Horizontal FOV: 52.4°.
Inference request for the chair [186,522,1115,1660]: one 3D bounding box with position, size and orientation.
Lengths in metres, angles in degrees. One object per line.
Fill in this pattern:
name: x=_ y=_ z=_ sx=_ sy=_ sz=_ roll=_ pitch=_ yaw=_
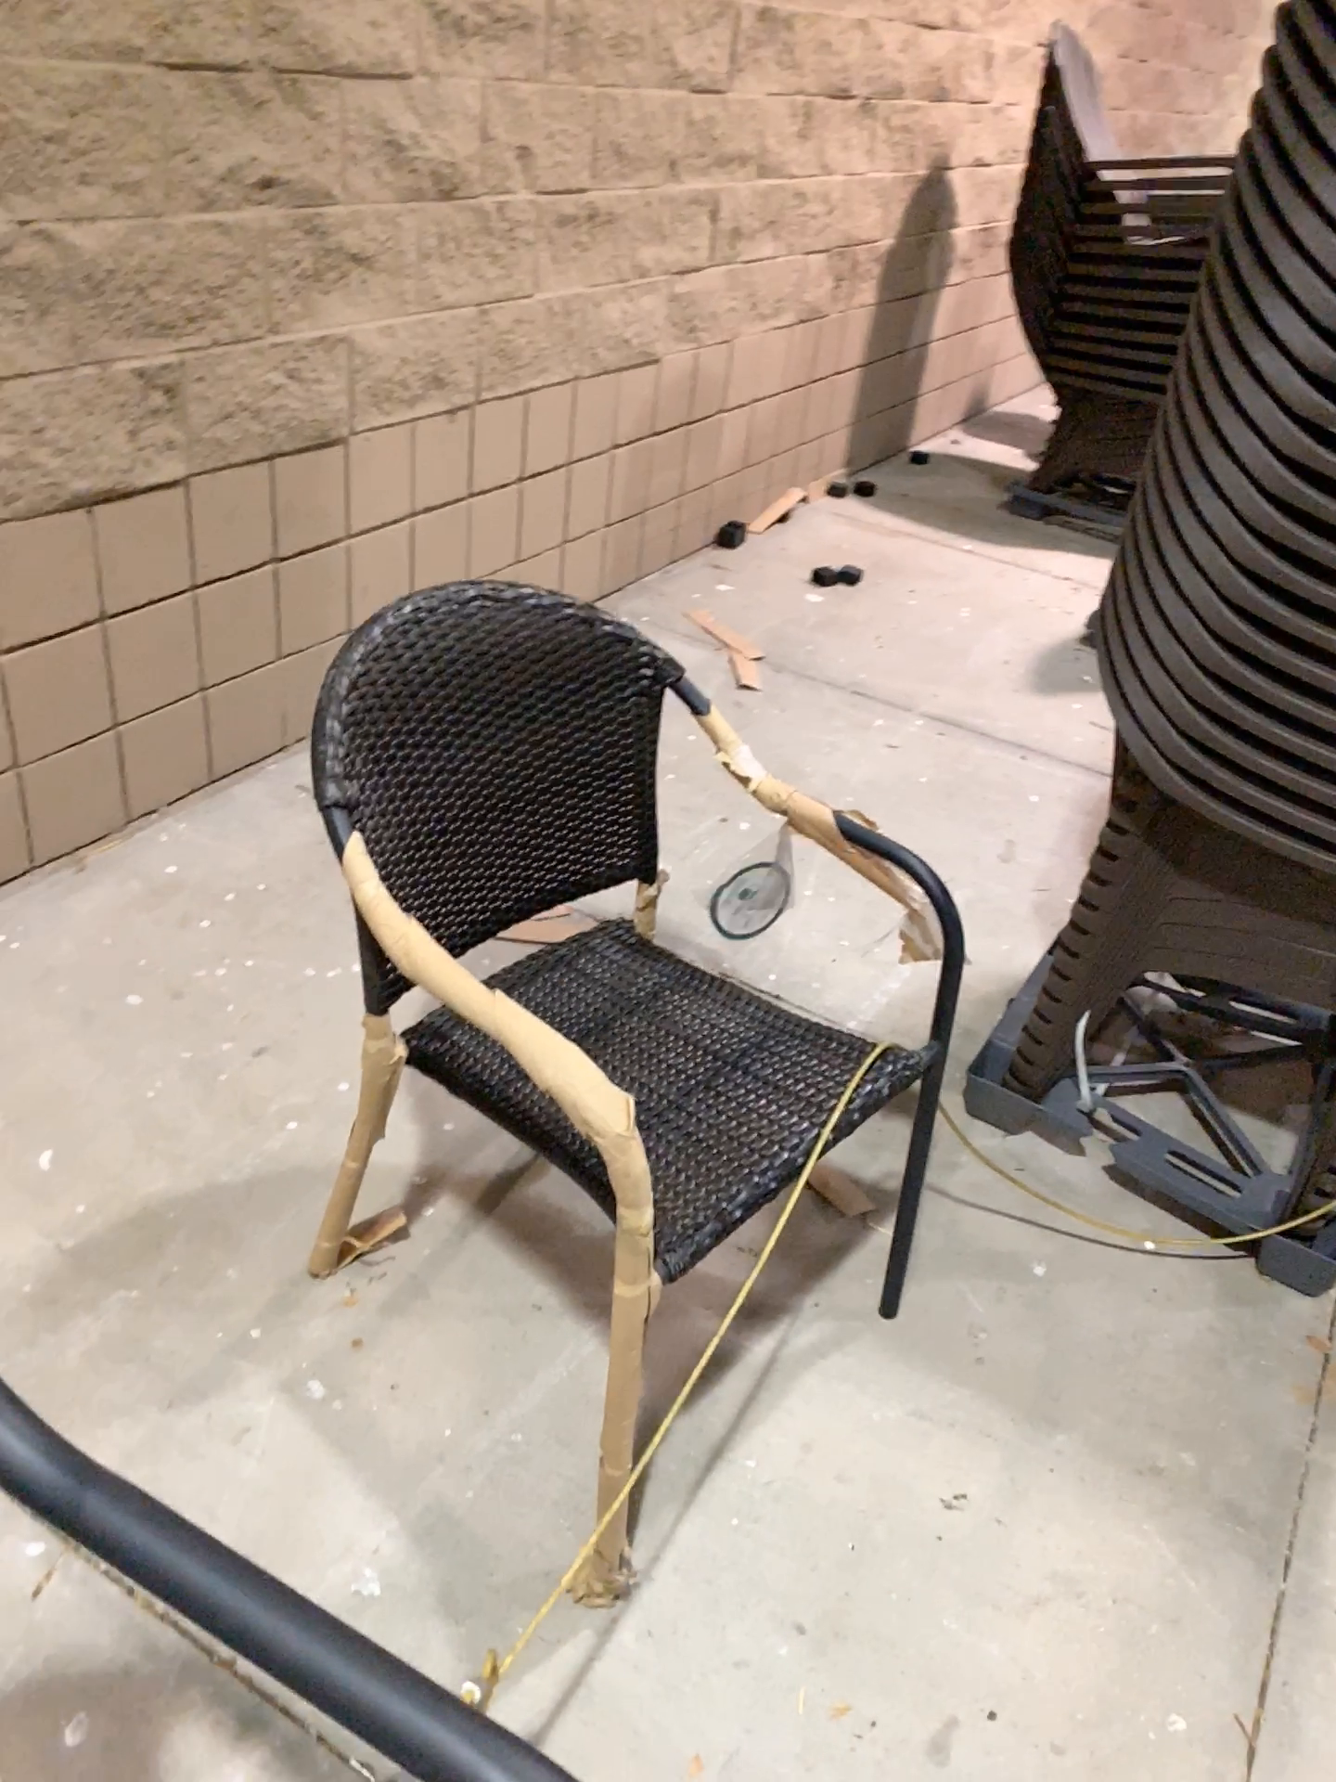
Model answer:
chair: x=-0.044 y=0.159 z=1.426 sx=0.598 sy=0.840 sz=0.577 roll=28 pitch=38 yaw=30
